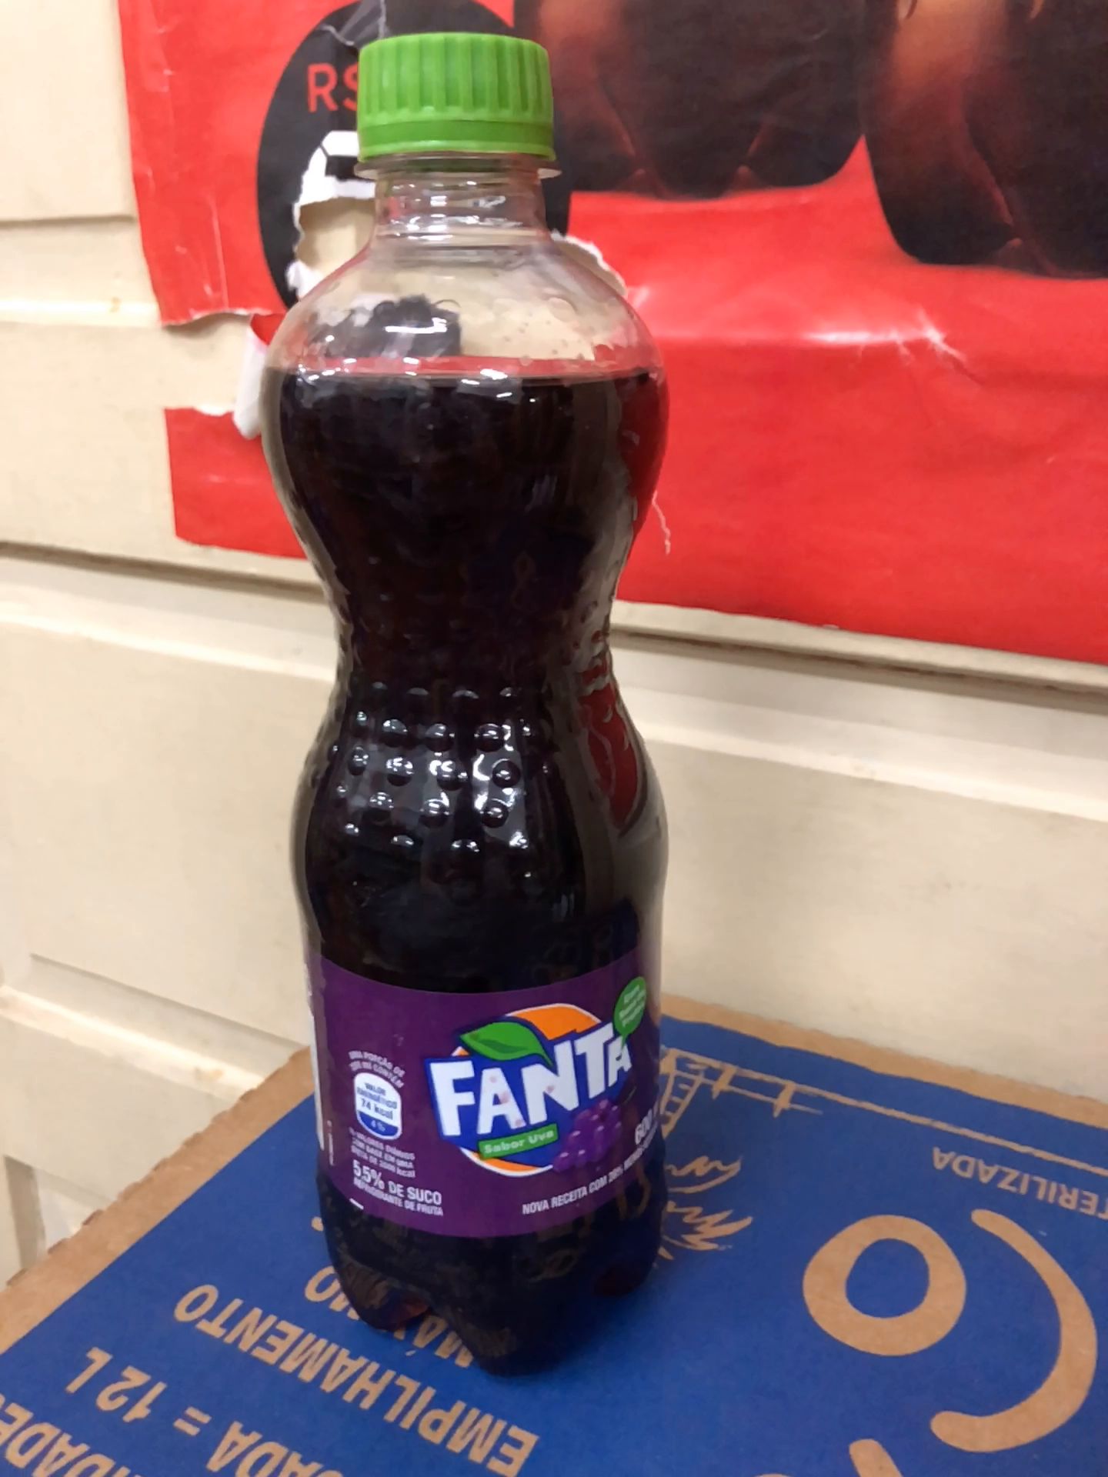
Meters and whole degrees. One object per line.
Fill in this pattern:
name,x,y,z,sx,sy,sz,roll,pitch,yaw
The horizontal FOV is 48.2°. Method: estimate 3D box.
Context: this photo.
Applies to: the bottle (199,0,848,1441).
bottle,-0.009,-0.003,0.224,0.080,0.229,0.070,-7,19,-20
